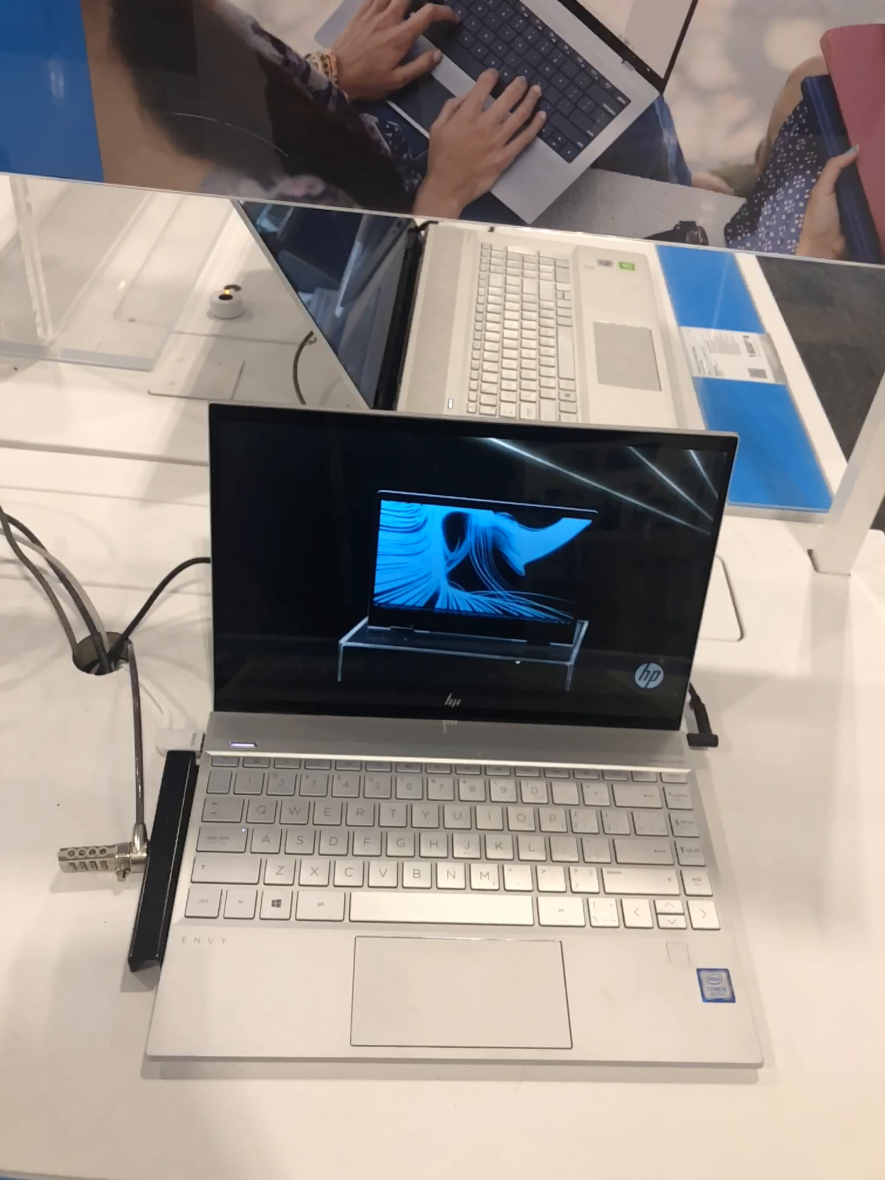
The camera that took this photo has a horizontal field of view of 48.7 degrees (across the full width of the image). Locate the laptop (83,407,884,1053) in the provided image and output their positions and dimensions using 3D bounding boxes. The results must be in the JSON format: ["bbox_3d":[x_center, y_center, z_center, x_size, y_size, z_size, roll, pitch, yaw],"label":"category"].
[{"bbox_3d":[0.014,0.066,0.515,0.298,0.182,0.273,3,44,-5],"label":"laptop"}]
